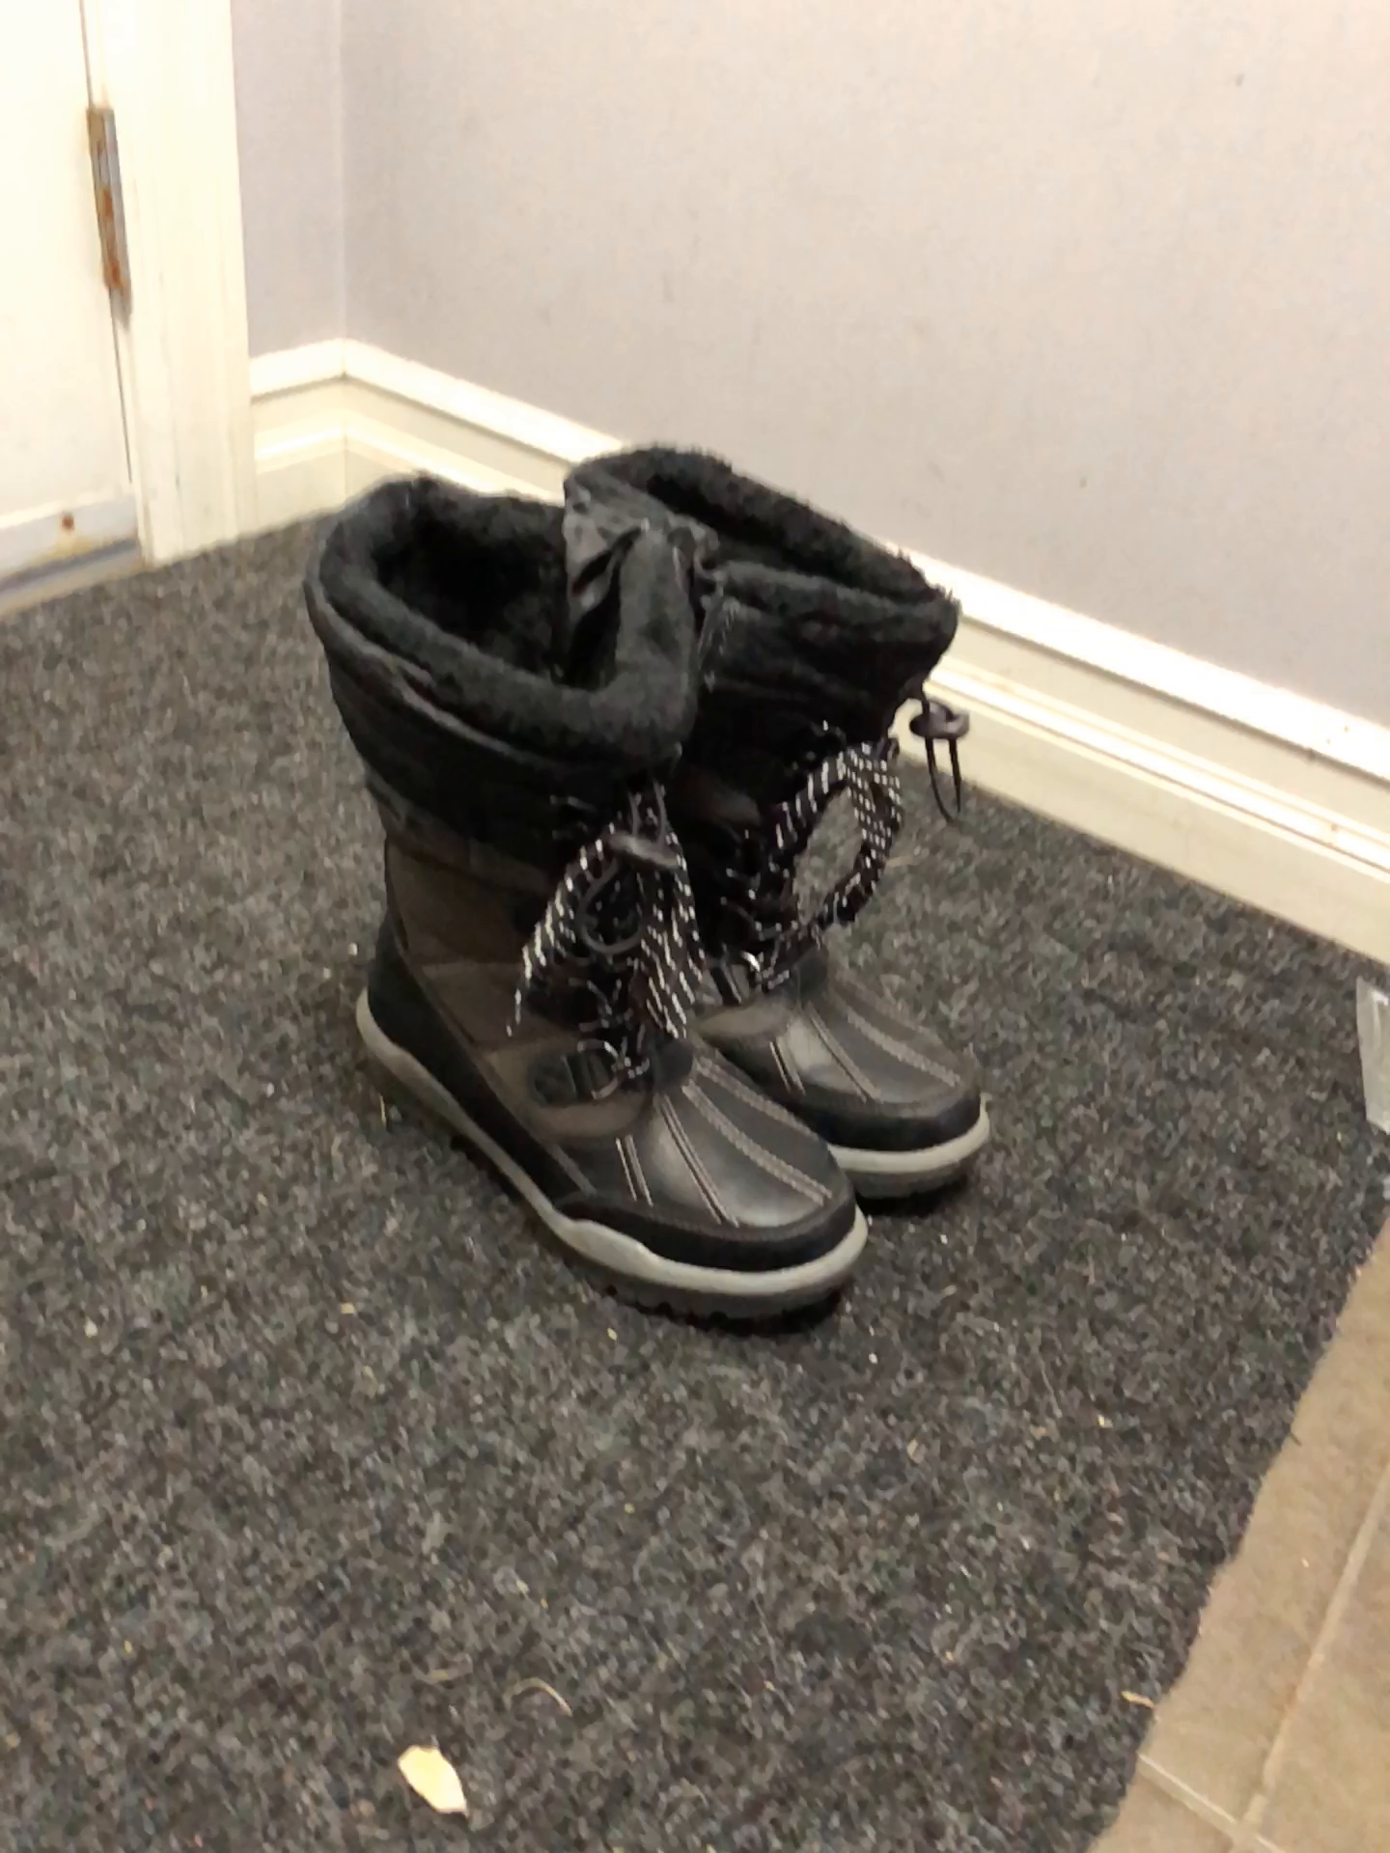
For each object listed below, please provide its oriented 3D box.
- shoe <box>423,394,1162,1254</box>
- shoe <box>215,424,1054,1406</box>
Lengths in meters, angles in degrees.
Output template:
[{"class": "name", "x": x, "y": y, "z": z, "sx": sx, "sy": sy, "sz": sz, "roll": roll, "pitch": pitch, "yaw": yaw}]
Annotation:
[{"class": "shoe", "x": 0.019, "y": -0.045, "z": 0.647, "sx": 0.260, "sy": 0.269, "sz": 0.100, "roll": 25, "pitch": 39, "yaw": 23}, {"class": "shoe", "x": -0.038, "y": -0.009, "z": 0.578, "sx": 0.260, "sy": 0.269, "sz": 0.110, "roll": 27, "pitch": 40, "yaw": 24}]
